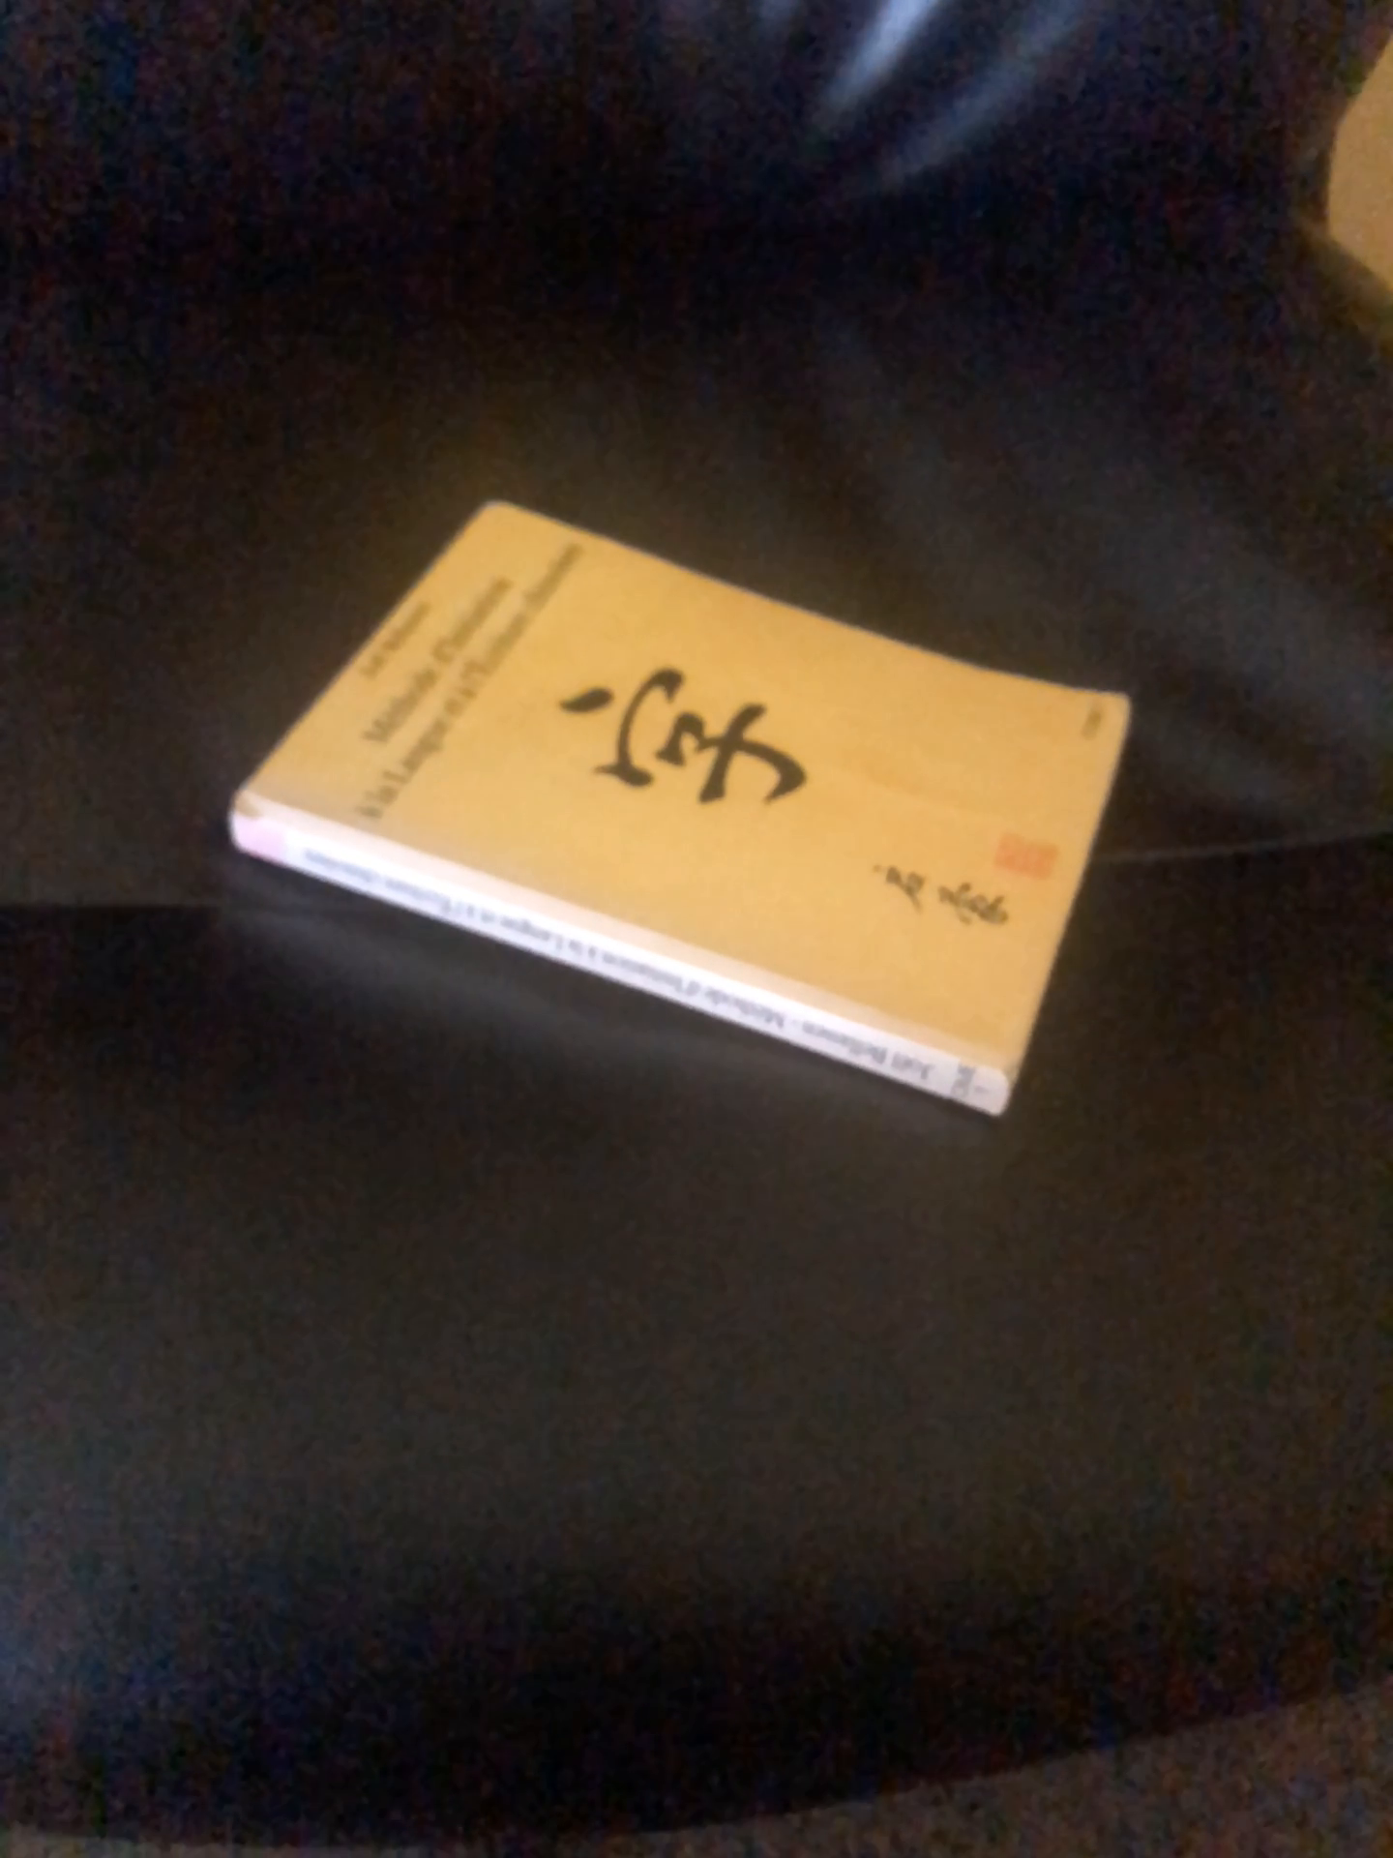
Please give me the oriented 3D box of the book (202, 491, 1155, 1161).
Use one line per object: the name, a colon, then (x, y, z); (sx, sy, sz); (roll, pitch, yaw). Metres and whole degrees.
book: (0.001, -0.042, 0.440); (0.220, 0.028, 0.153); (19, 53, 13)
